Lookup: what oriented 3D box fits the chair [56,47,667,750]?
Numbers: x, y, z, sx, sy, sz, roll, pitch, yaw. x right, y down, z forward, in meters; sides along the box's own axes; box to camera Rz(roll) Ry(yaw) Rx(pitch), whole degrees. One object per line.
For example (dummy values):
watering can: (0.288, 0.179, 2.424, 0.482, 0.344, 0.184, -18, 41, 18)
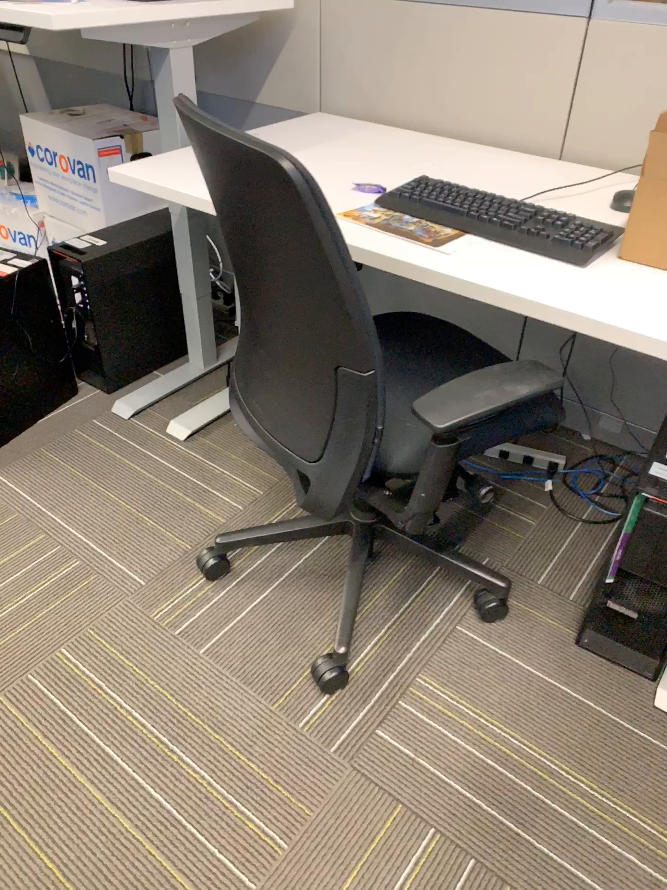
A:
chair: (0.076, -0.155, 1.309, 0.751, 0.934, 0.703, -26, 45, -31)
